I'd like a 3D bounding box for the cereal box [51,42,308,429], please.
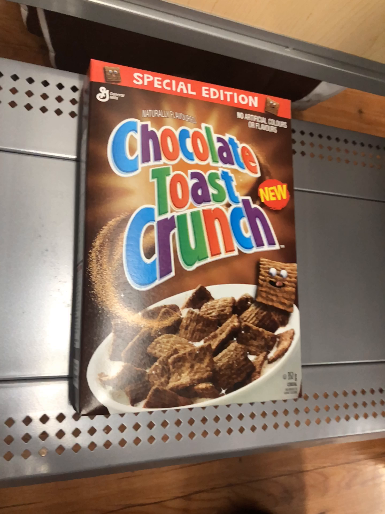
[{"bbox_3d":[-0.014,-0.015,0.389,0.200,0.090,0.290,3,79,-22],"label":"cereal box"}]
